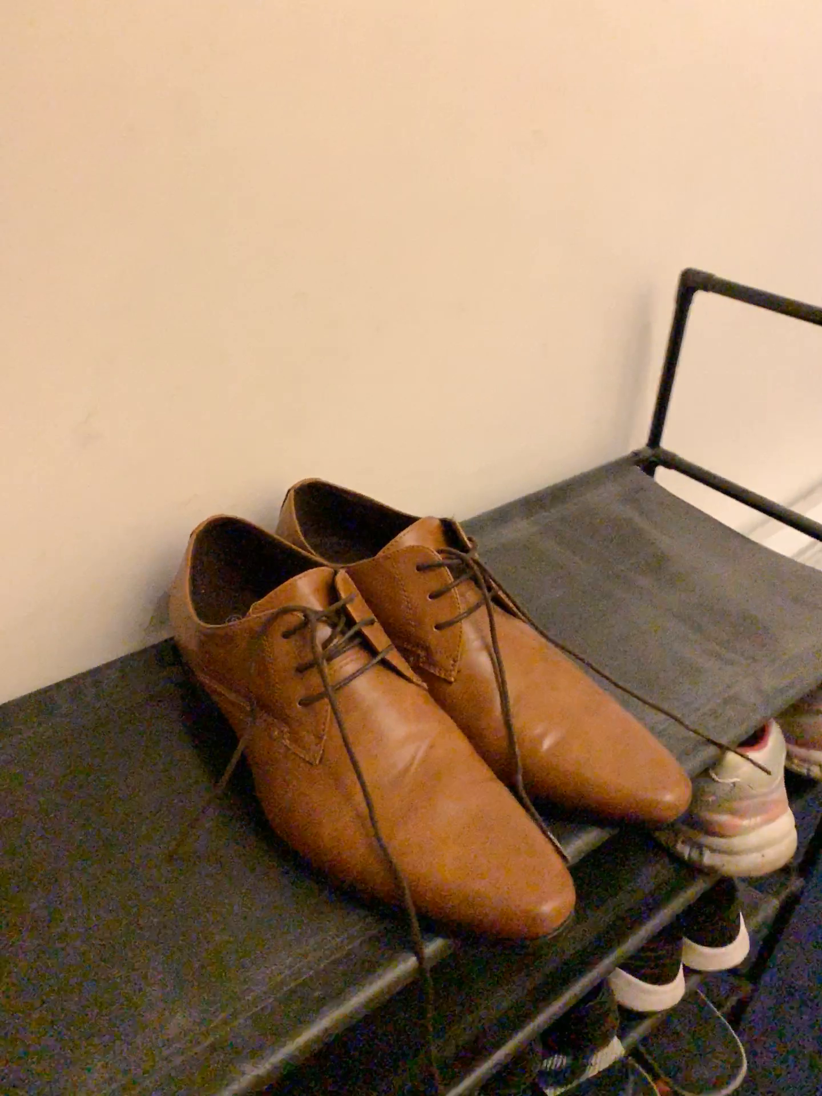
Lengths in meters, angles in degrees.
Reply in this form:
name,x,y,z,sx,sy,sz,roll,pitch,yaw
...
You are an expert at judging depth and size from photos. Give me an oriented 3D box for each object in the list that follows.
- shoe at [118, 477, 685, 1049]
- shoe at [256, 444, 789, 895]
name,x,y,z,sx,sy,sz,roll,pitch,yaw
shoe,-0.023,0.074,0.413,0.111,0.099,0.271,-24,40,-34
shoe,0.043,0.046,0.487,0.291,0.099,0.101,29,41,36
